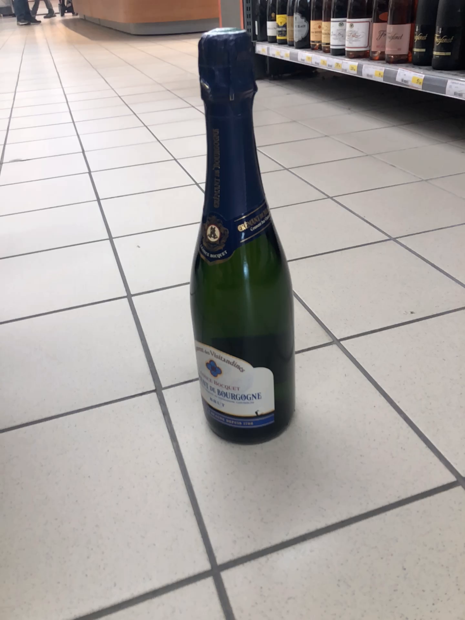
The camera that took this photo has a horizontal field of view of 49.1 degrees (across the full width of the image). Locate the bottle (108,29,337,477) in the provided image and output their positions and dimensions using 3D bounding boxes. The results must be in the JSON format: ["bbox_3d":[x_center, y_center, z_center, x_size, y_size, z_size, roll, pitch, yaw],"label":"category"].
[{"bbox_3d":[0.003,-0.035,0.392,0.100,0.308,0.101,-3,30,2],"label":"bottle"}]
